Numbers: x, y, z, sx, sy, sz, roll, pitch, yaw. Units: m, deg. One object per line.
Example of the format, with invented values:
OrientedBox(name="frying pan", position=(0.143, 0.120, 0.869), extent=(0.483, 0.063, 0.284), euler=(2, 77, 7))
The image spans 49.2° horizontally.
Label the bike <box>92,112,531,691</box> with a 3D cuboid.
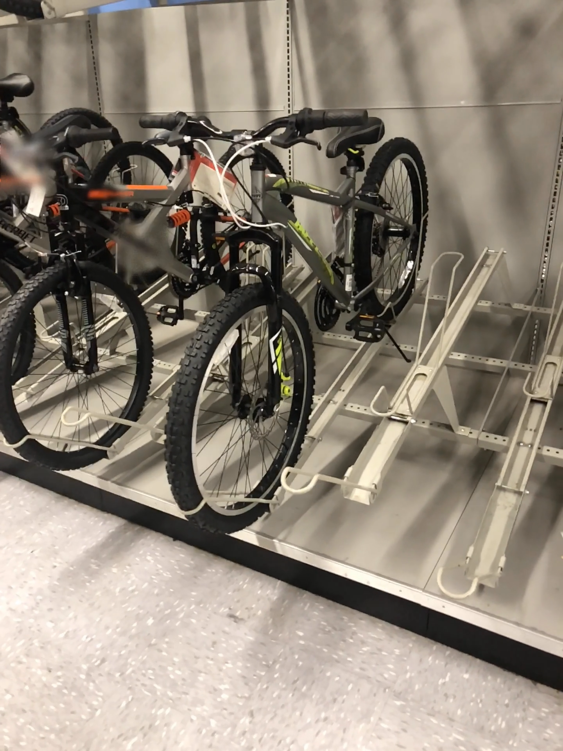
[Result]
OrientedBox(name="bike", position=(0.247, -0.193, 1.958), extent=(0.608, 0.728, 1.723), euler=(12, 38, 29))
